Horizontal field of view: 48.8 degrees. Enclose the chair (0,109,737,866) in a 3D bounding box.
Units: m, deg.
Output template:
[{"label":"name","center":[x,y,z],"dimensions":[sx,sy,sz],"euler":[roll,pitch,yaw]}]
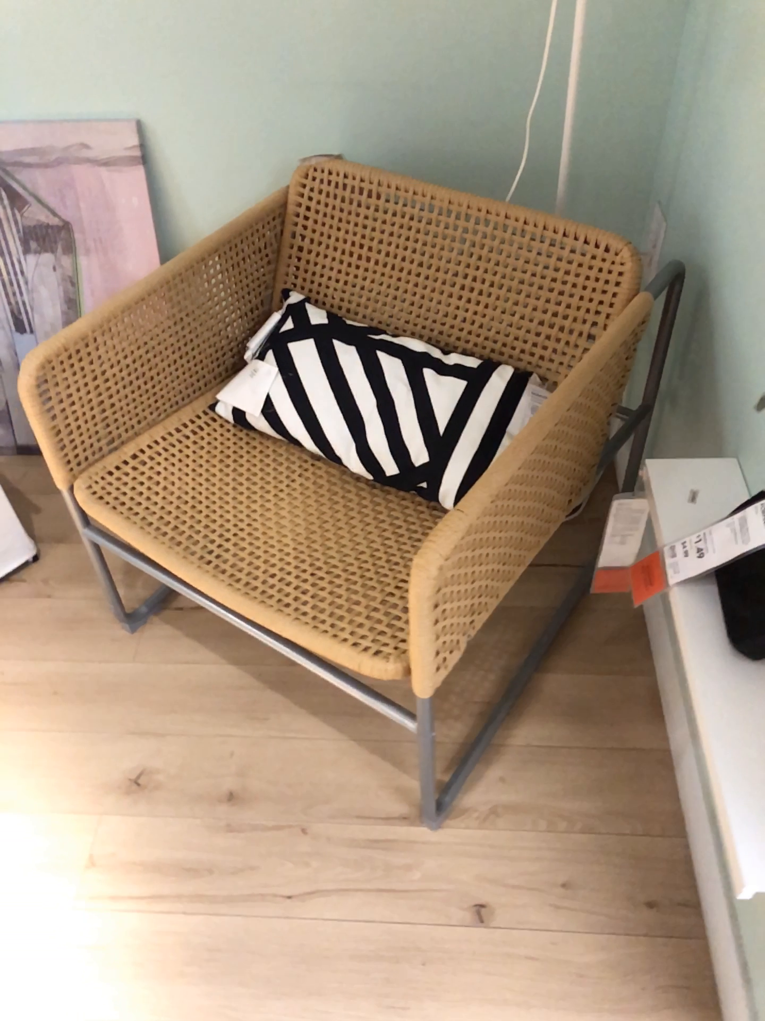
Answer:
[{"label":"chair","center":[-0.043,-0.104,1.325],"dimensions":[0.791,0.628,0.752],"euler":[25,52,25]}]
